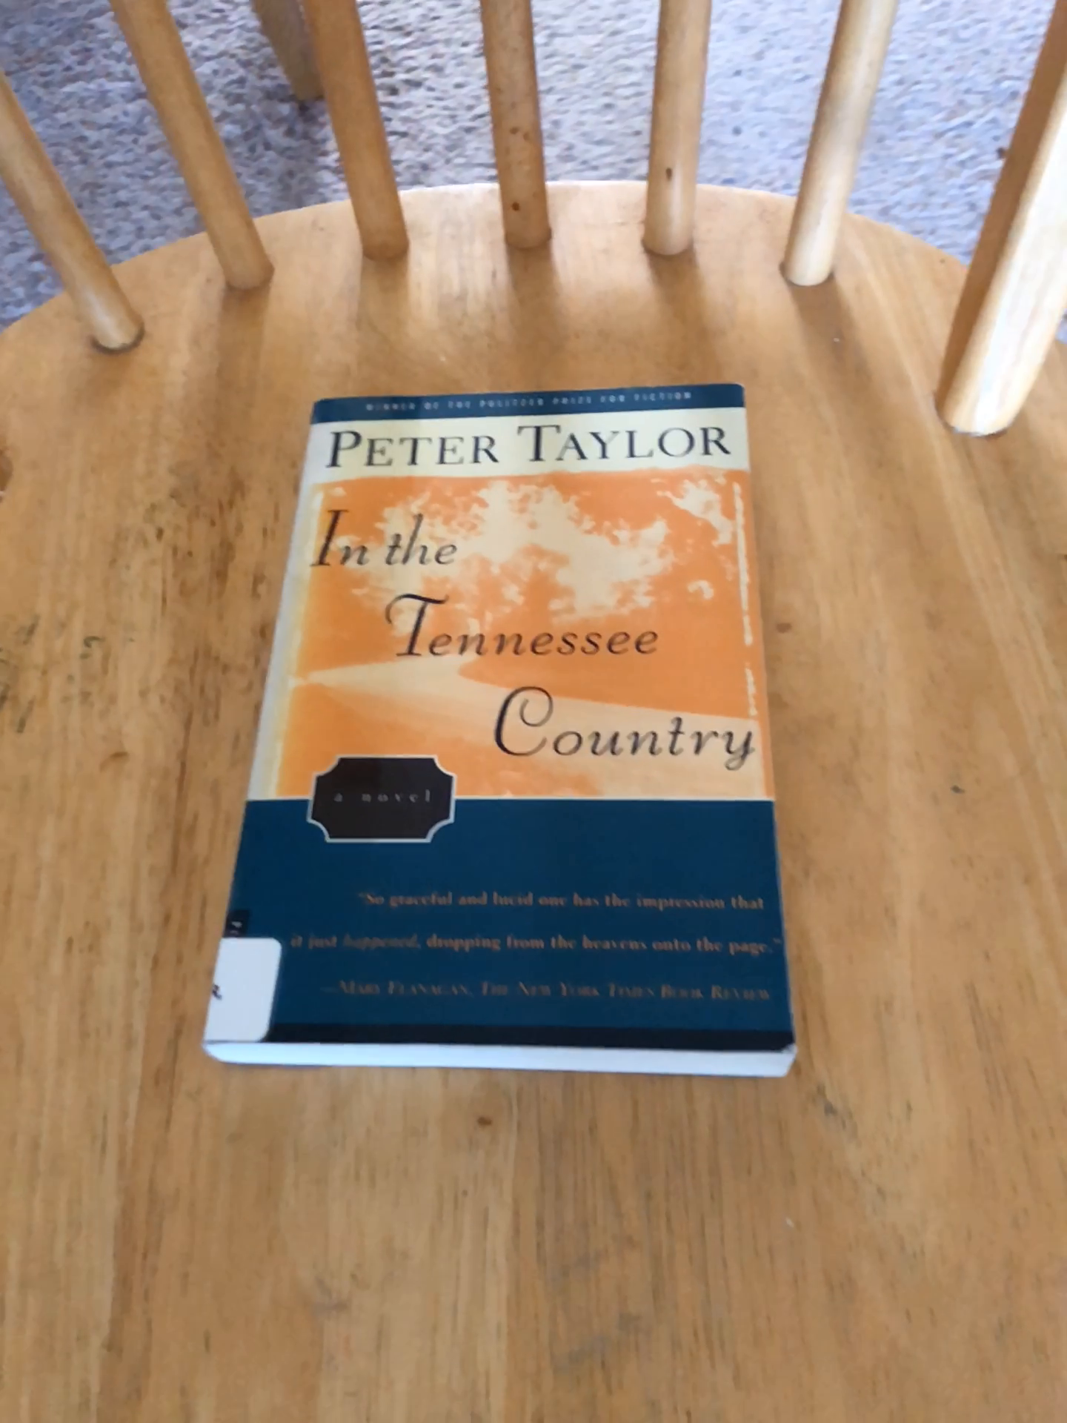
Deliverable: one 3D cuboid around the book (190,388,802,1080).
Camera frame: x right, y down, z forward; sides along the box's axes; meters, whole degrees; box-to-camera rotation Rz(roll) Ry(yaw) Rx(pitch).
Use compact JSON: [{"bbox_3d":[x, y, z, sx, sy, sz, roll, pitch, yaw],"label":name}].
[{"bbox_3d":[-0.005,-0.005,0.324,0.136,0.025,0.200,-1,59,6],"label":"book"}]
